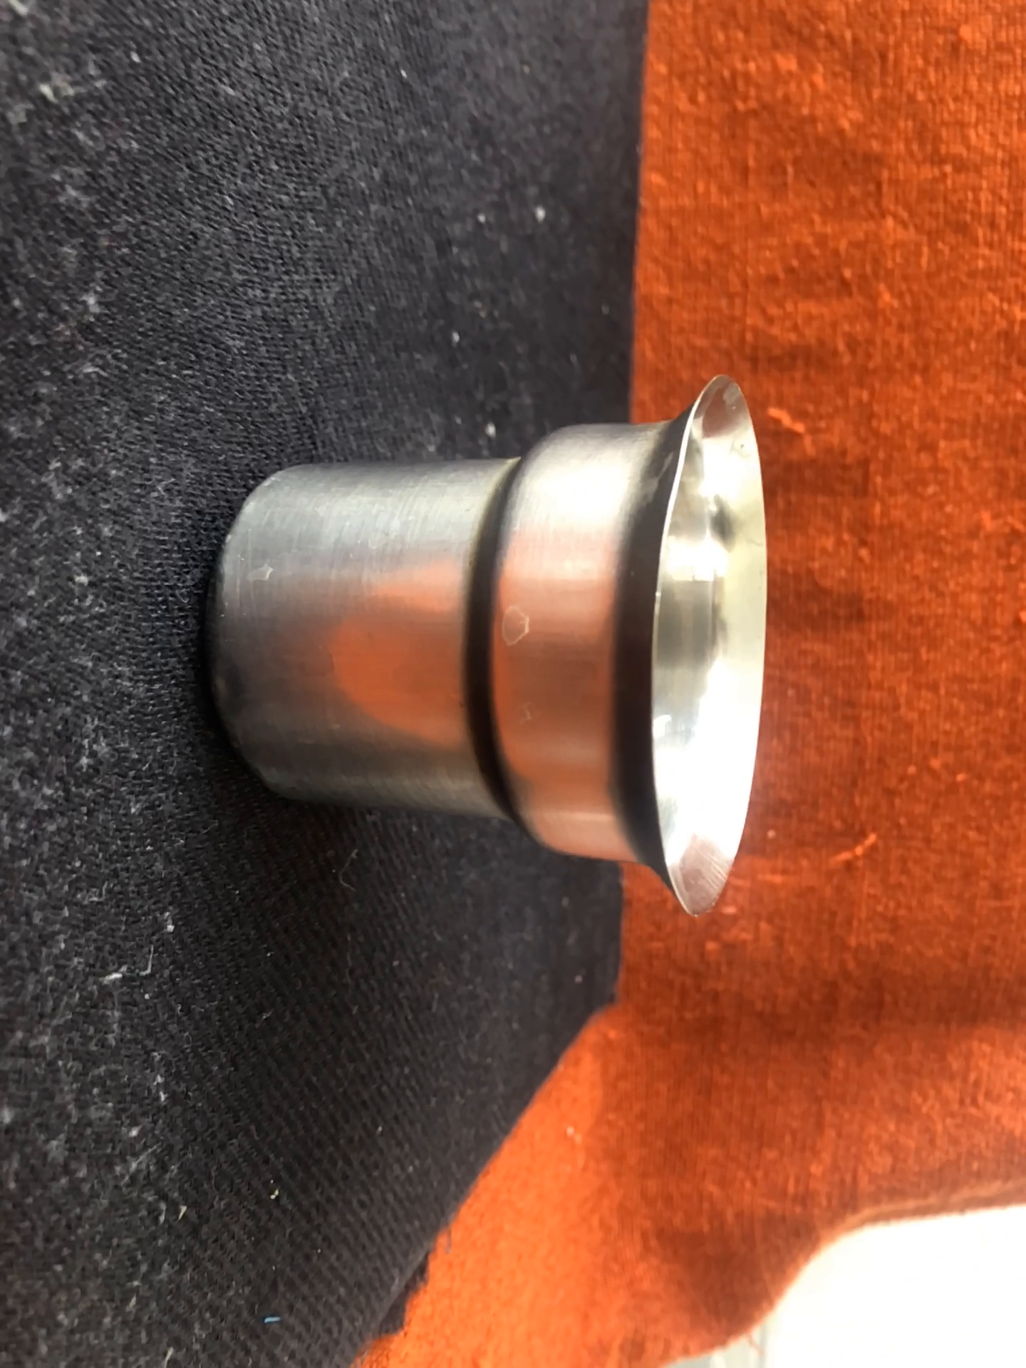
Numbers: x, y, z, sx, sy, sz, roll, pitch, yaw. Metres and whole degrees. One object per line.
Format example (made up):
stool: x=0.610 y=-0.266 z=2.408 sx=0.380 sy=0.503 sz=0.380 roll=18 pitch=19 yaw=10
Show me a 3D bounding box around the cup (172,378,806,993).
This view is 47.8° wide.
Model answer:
cup: x=0.002 y=-0.007 z=0.173 sx=0.070 sy=0.070 sz=0.070 roll=4 pitch=90 yaw=-70
